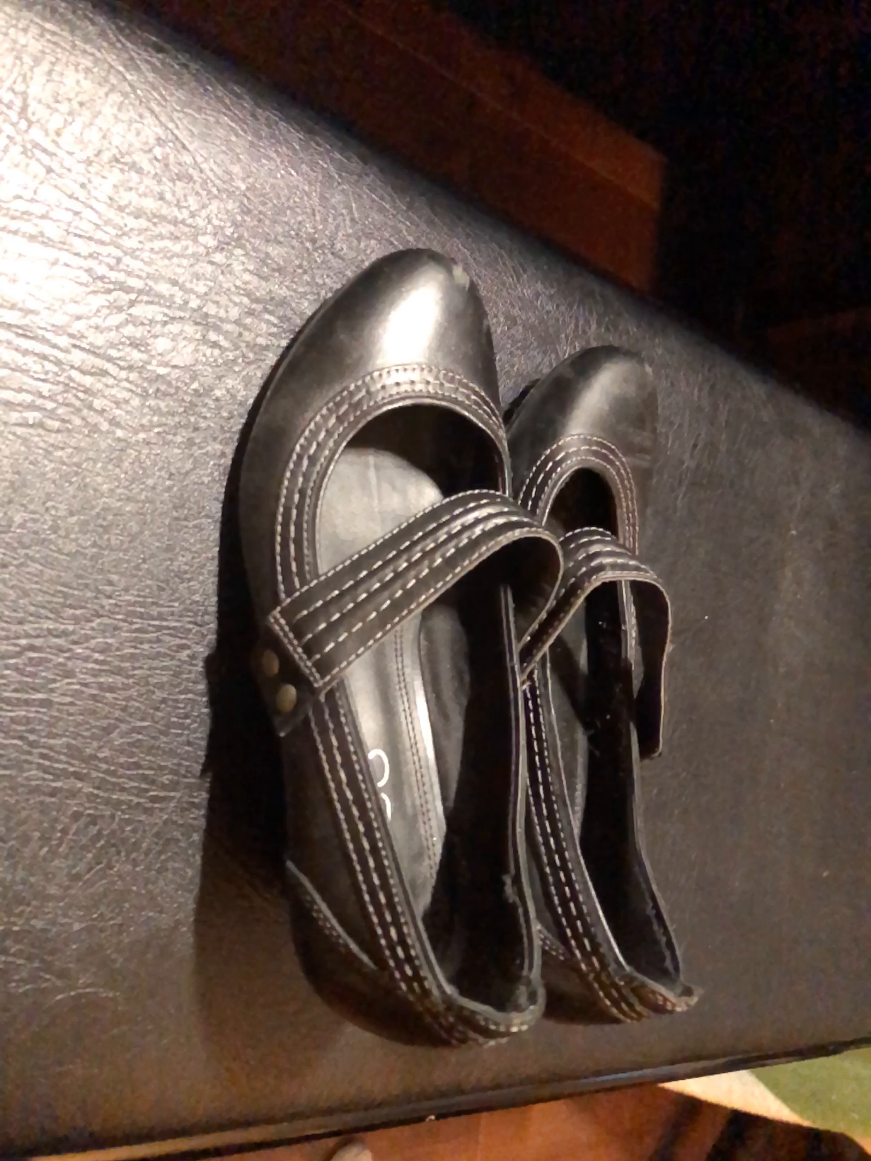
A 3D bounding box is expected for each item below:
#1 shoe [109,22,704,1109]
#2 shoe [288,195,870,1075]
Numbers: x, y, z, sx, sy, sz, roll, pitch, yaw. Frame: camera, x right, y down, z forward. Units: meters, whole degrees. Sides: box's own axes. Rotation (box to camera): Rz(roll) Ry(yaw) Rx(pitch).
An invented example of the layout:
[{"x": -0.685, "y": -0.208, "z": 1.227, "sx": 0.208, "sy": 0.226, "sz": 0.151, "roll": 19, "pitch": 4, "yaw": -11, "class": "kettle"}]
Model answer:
[{"x": -0.008, "y": -0.002, "z": 0.281, "sx": 0.100, "sy": 0.110, "sz": 0.240, "roll": 12, "pitch": 81, "yaw": -37, "class": "shoe"}, {"x": 0.052, "y": 0.018, "z": 0.326, "sx": 0.100, "sy": 0.110, "sz": 0.240, "roll": 24, "pitch": 74, "yaw": -35, "class": "shoe"}]
